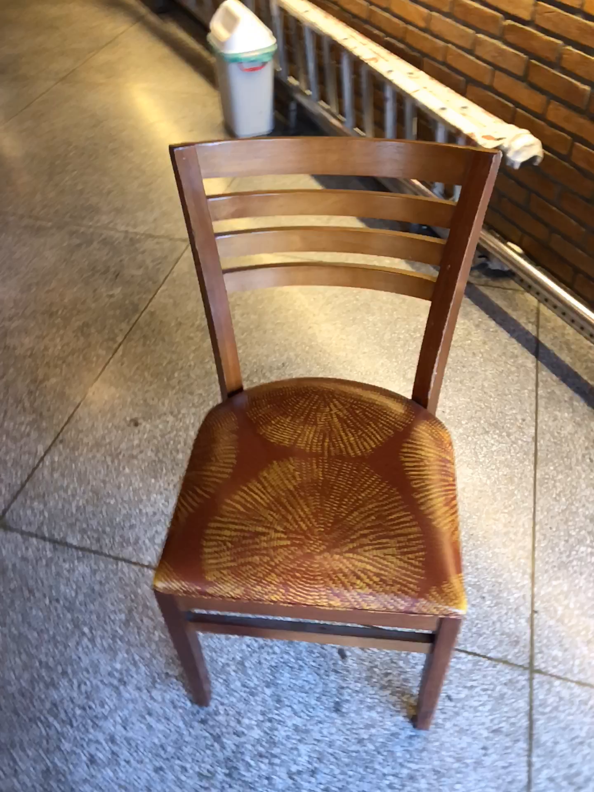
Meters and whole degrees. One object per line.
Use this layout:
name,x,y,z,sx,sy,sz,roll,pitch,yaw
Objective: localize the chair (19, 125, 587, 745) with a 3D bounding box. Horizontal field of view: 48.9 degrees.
chair,0.029,0.115,0.982,0.450,0.845,0.473,2,46,4
